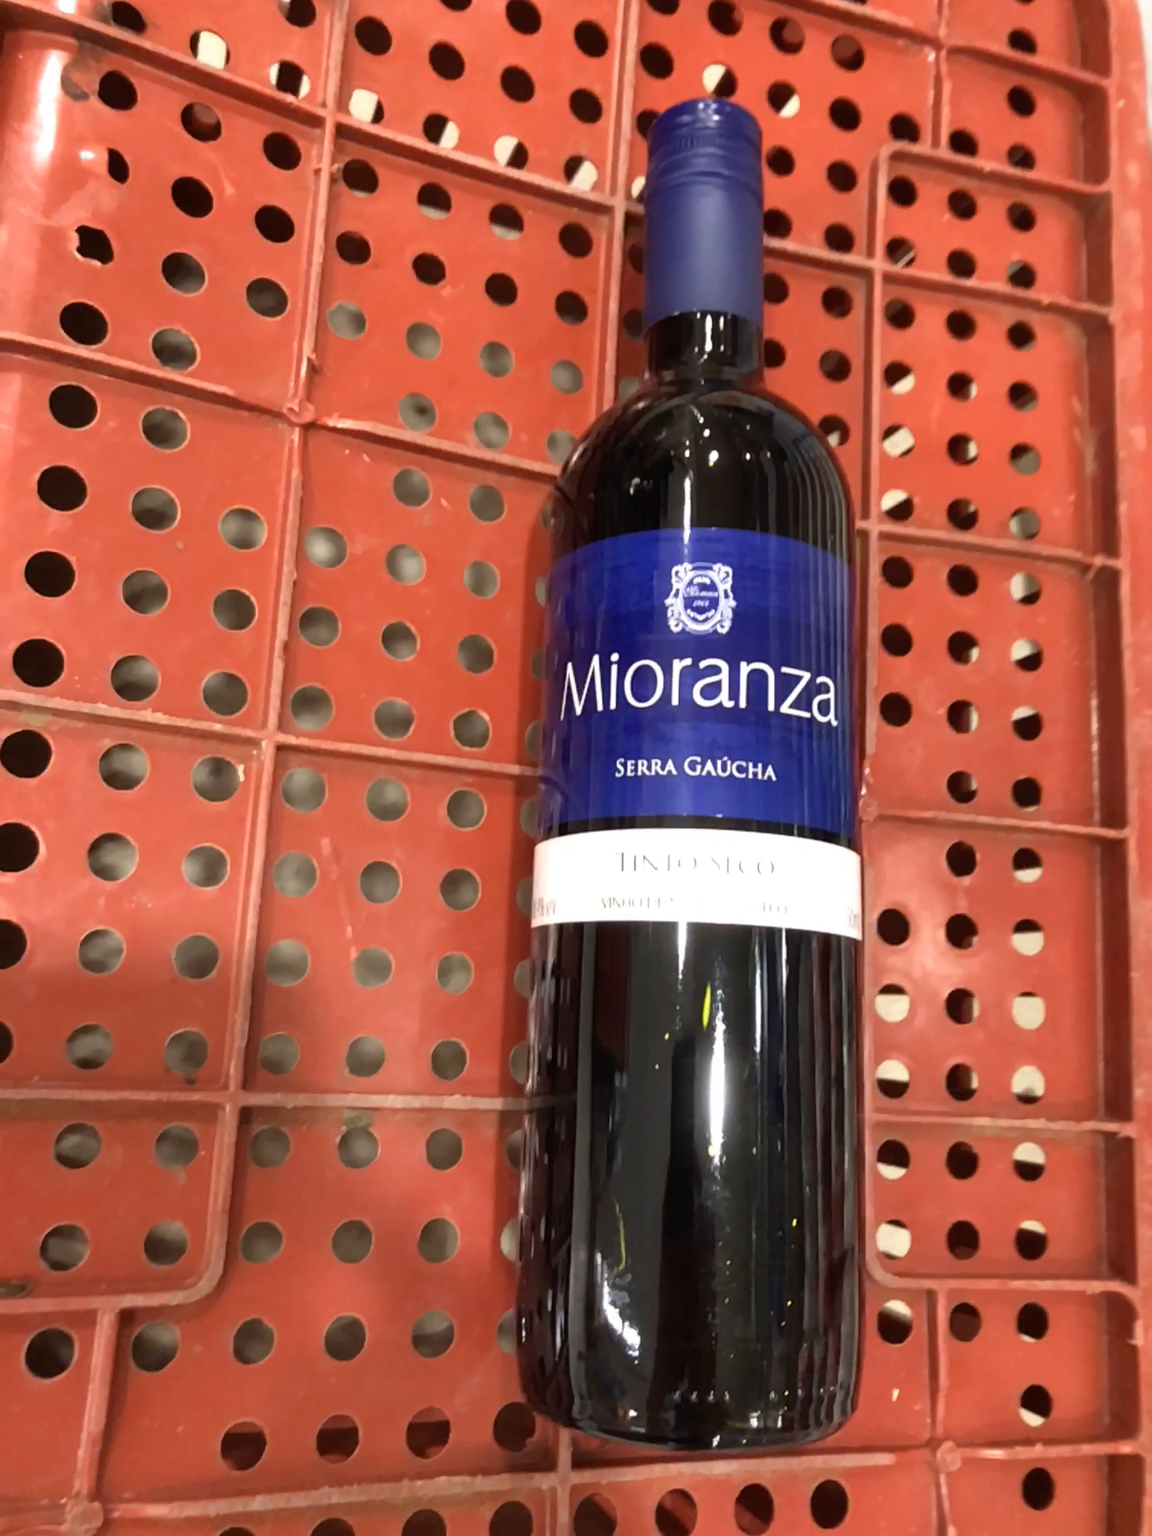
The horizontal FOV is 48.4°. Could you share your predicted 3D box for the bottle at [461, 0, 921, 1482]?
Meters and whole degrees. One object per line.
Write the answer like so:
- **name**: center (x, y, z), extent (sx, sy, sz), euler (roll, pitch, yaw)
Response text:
- **bottle**: center (0.026, -0.019, 0.282), extent (0.080, 0.060, 0.300), euler (2, 79, 2)
